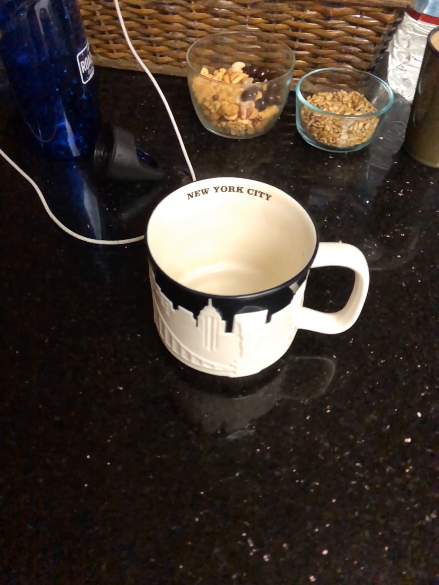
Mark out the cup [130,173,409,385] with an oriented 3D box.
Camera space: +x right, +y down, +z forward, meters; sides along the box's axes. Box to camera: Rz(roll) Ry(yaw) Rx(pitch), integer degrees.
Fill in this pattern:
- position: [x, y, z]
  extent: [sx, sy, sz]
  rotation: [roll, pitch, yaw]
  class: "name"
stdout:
- position: [0.027, -0.009, 0.329]
  extent: [0.150, 0.090, 0.111]
  rotation: [1, 51, 0]
  class: "cup"
